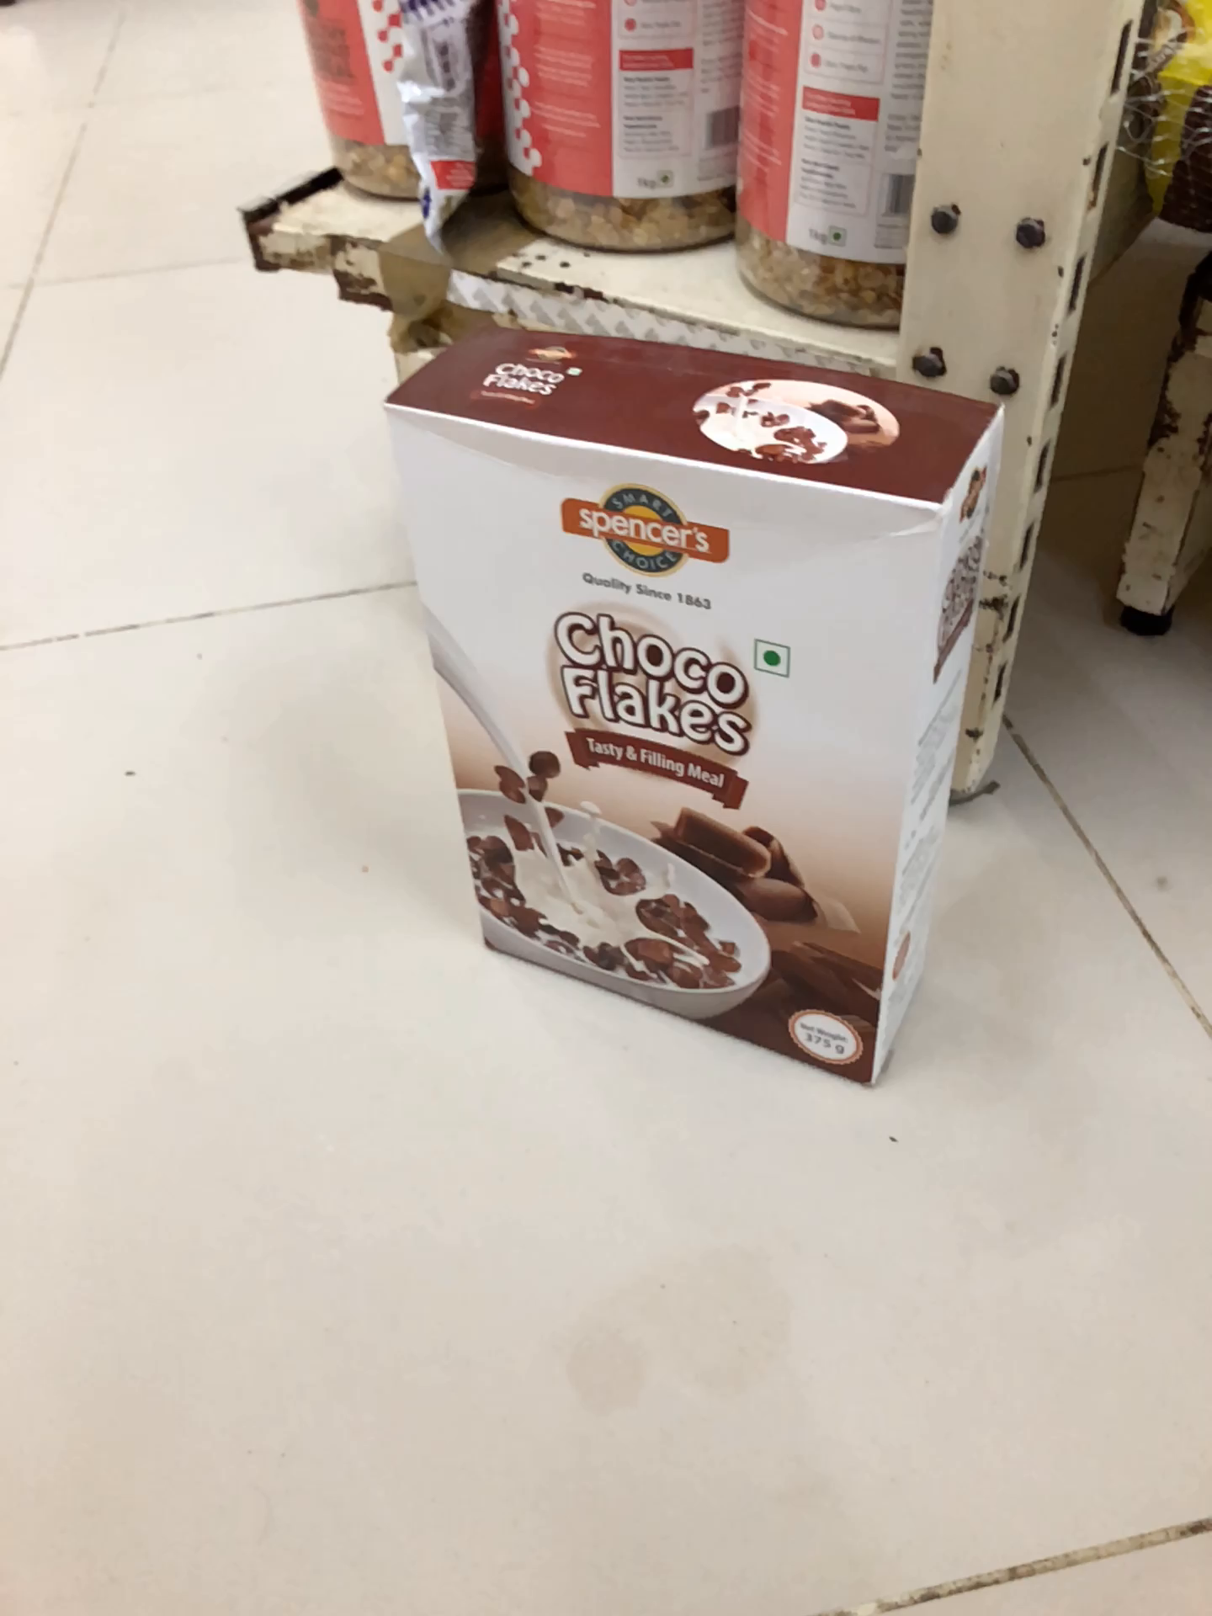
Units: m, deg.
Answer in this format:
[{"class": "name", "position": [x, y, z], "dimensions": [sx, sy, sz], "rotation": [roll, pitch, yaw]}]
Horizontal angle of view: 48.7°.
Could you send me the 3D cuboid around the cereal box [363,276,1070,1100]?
[{"class": "cereal box", "position": [0.036, -0.032, 0.462], "dimensions": [0.190, 0.258, 0.060], "rotation": [17, 47, 23]}]
